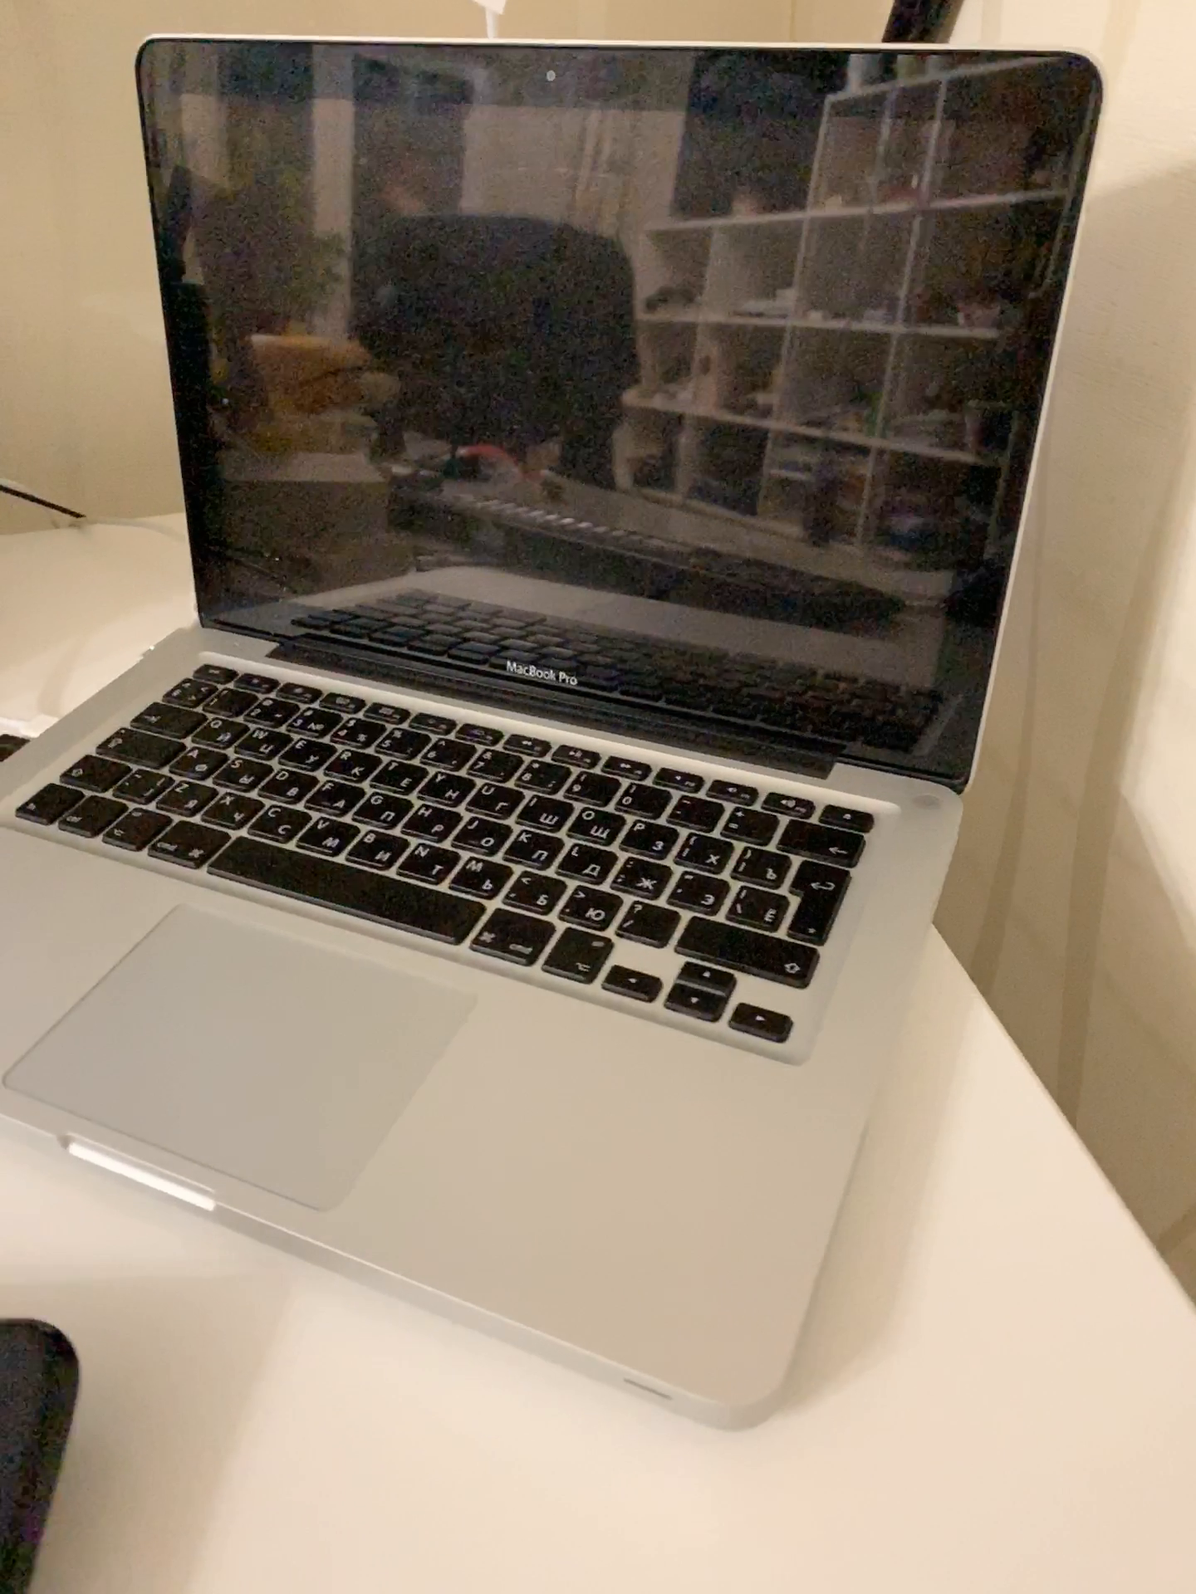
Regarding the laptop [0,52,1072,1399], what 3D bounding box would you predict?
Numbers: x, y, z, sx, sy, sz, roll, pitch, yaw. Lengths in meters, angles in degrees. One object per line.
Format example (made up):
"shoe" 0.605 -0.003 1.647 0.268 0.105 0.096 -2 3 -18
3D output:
"laptop" -0.066 -0.065 0.325 0.301 0.196 0.250 13 40 20
